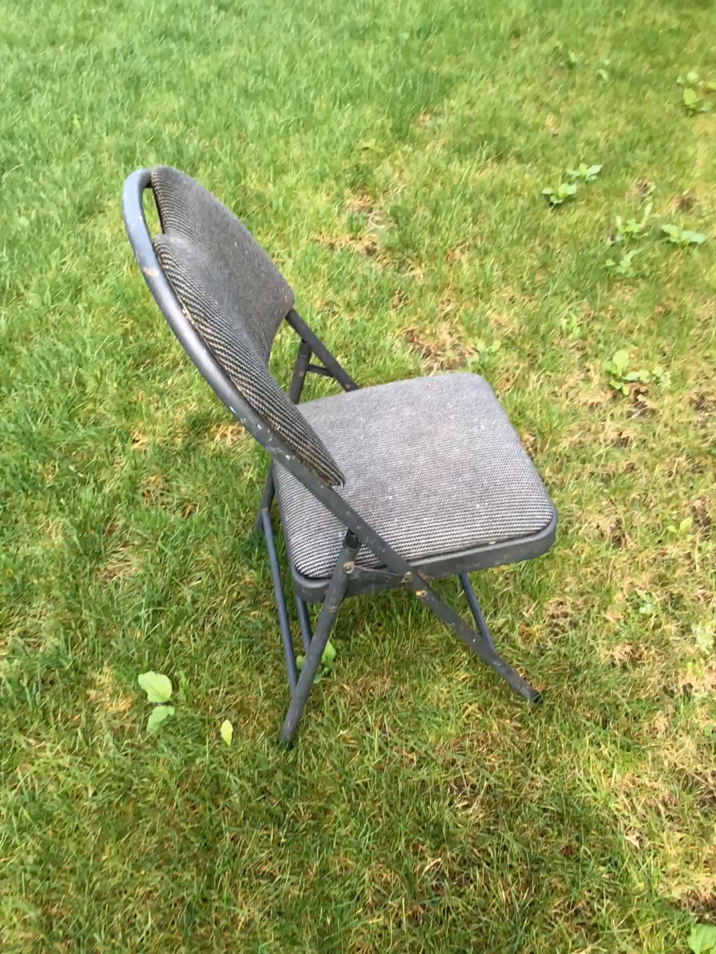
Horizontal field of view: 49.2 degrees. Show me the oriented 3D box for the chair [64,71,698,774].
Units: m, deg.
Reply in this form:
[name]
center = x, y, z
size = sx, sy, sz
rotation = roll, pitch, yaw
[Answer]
[chair]
center = 0.003, -0.052, 1.162
size = 0.570, 0.814, 0.534
rotation = -9, 44, -5
